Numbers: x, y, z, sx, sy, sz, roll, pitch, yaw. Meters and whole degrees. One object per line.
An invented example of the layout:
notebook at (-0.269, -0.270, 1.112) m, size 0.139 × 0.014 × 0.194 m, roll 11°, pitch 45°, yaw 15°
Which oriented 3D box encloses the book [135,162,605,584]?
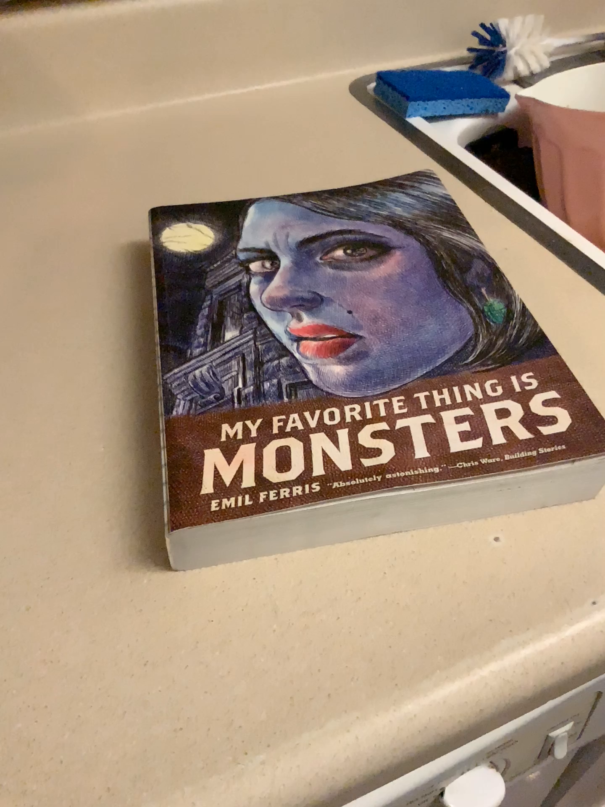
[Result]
book at (0.016, -0.046, 0.378) m, size 0.200 × 0.040 × 0.270 m, roll -9°, pitch 45°, yaw -8°
